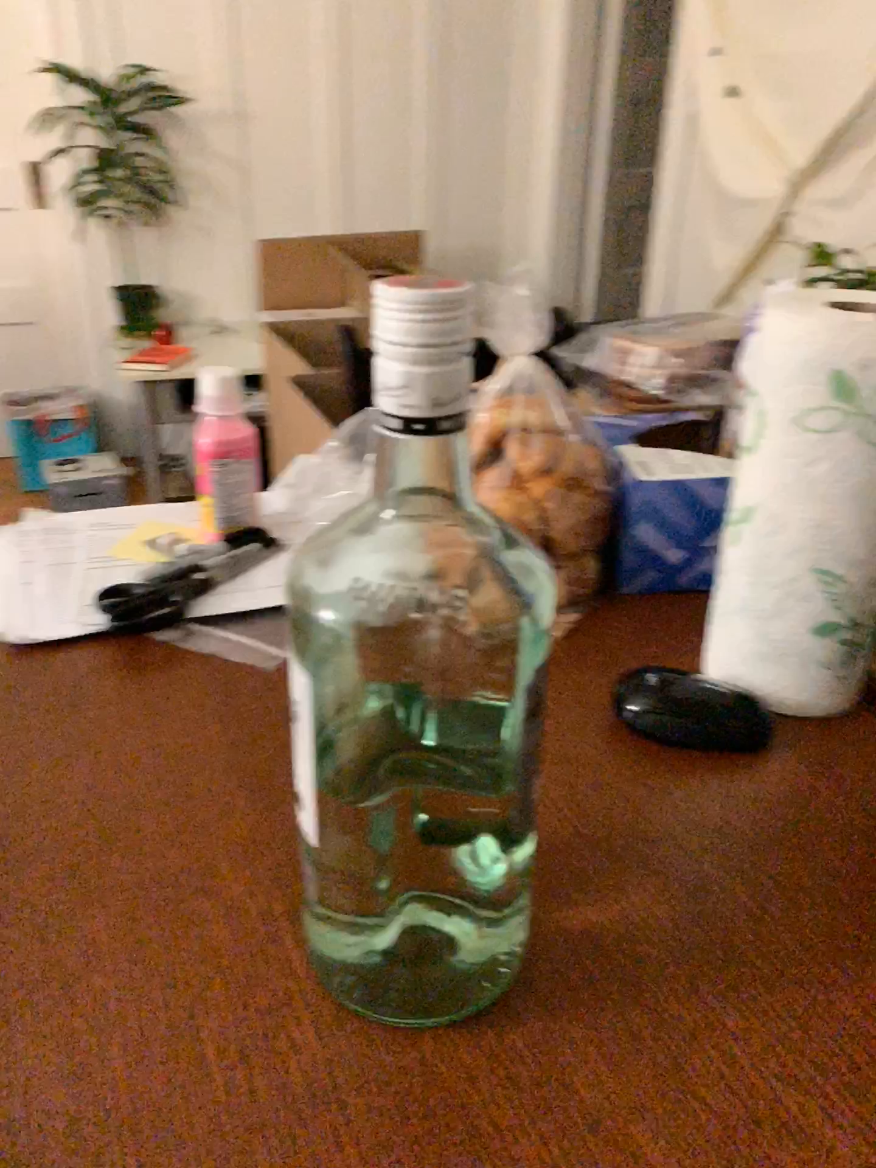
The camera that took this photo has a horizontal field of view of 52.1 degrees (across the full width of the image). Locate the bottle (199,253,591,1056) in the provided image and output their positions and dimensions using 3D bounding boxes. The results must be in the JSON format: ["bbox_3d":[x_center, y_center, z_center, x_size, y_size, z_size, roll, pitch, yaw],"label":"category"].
[{"bbox_3d":[-0.010,0.037,0.396,0.120,0.328,0.121,1,27,-1],"label":"bottle"}]
